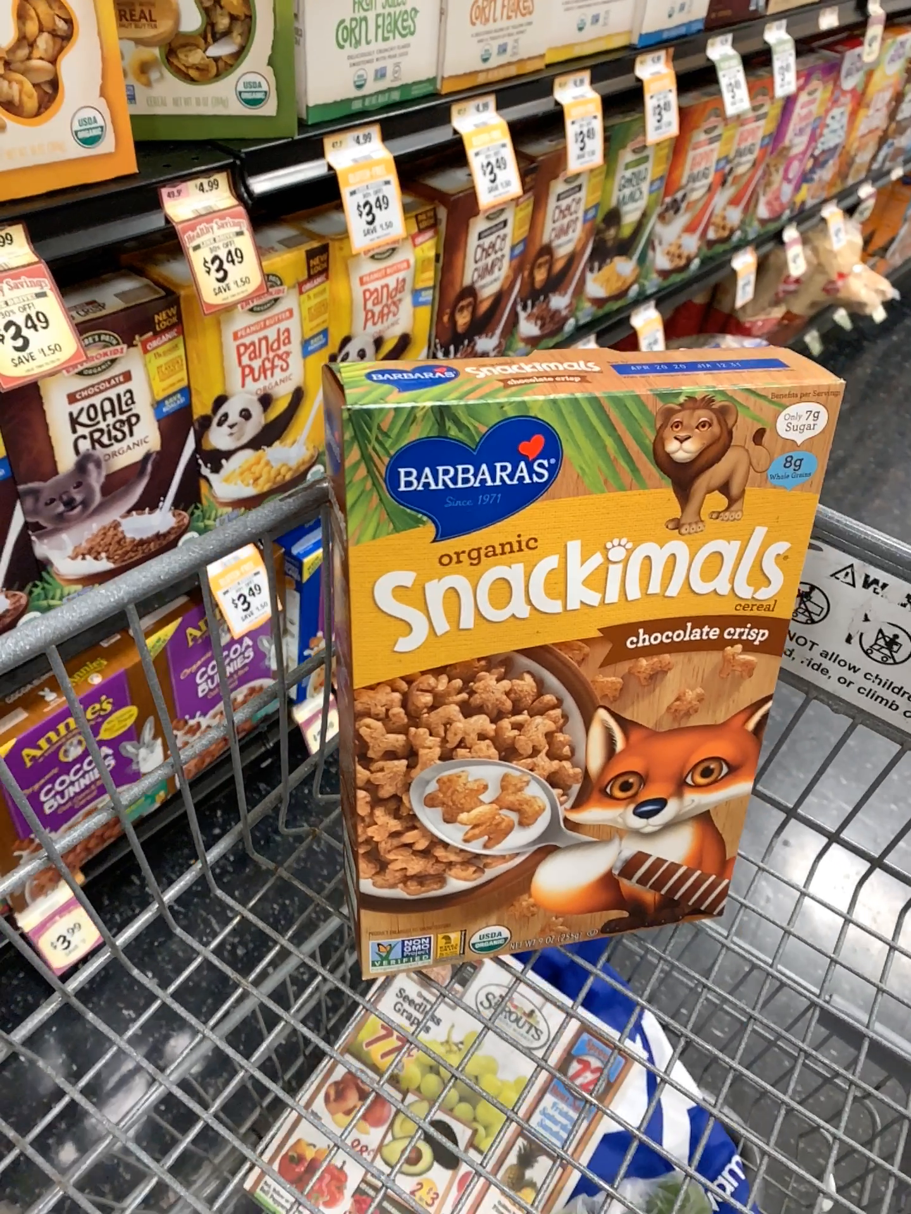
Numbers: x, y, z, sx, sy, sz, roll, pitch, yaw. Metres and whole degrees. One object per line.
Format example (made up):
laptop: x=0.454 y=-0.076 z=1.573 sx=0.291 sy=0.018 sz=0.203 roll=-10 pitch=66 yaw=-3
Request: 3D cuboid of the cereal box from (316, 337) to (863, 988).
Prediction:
cereal box: x=0.040 y=0.032 z=0.388 sx=0.180 sy=0.269 sz=0.050 roll=-5 pitch=32 yaw=-14
